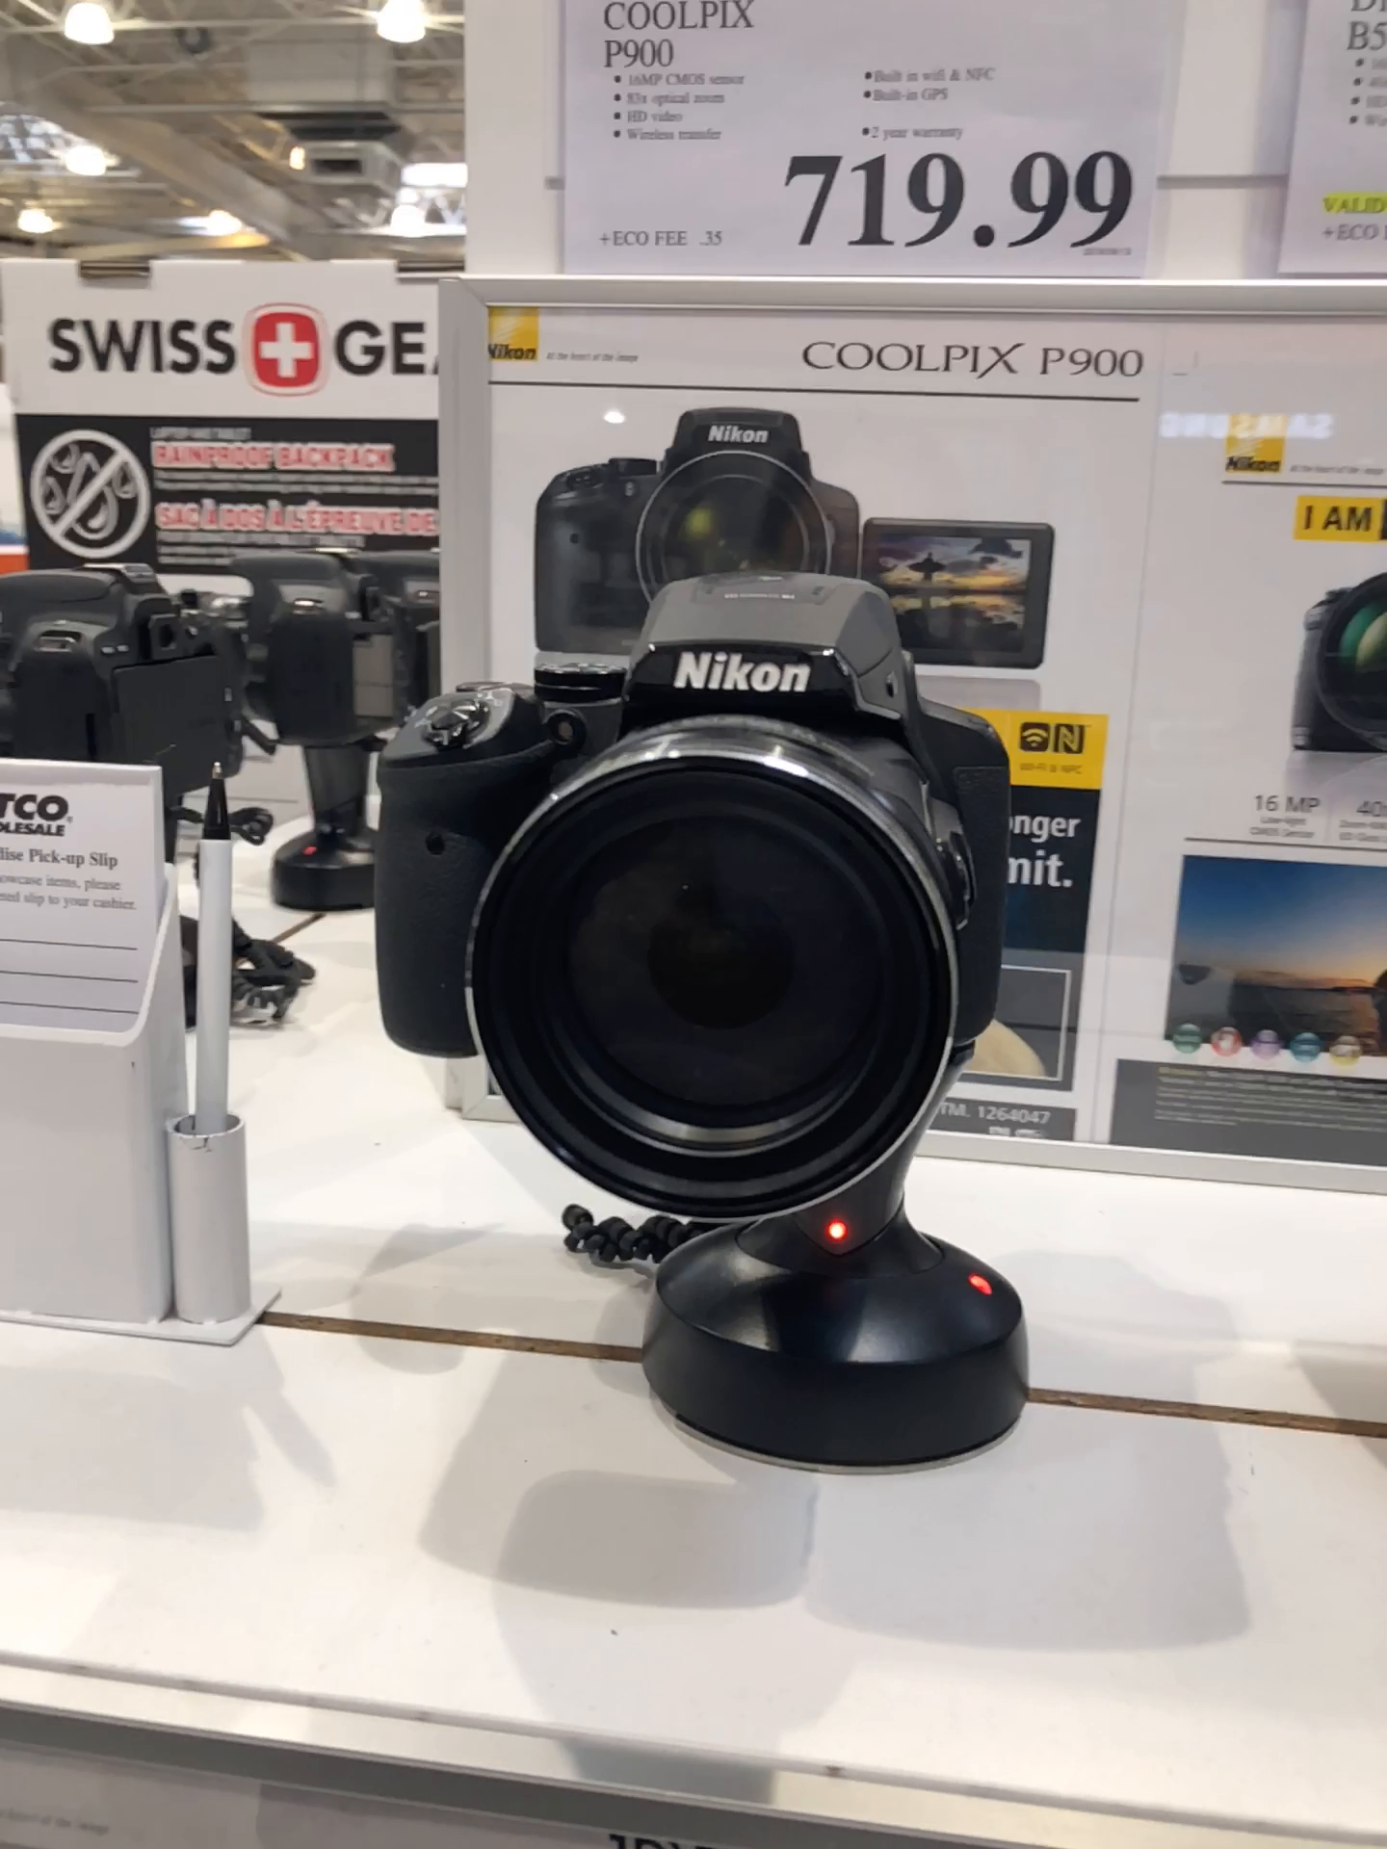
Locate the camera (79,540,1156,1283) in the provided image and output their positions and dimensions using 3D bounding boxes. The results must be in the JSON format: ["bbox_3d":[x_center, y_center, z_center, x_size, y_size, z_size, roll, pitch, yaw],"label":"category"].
[{"bbox_3d":[-0.005,-0.018,0.287,0.150,0.100,0.141,4,14,8],"label":"camera"}]
